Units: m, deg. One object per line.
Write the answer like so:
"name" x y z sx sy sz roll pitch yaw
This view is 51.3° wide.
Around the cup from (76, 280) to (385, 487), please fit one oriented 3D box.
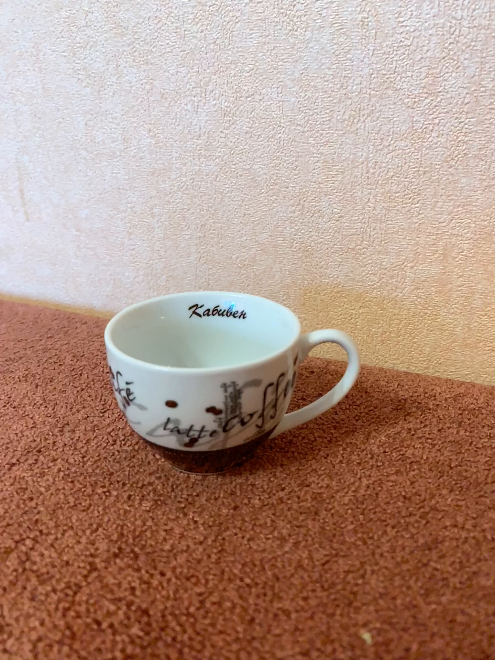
"cup" -0.004 0.014 0.175 0.083 0.040 0.065 -2 24 1
